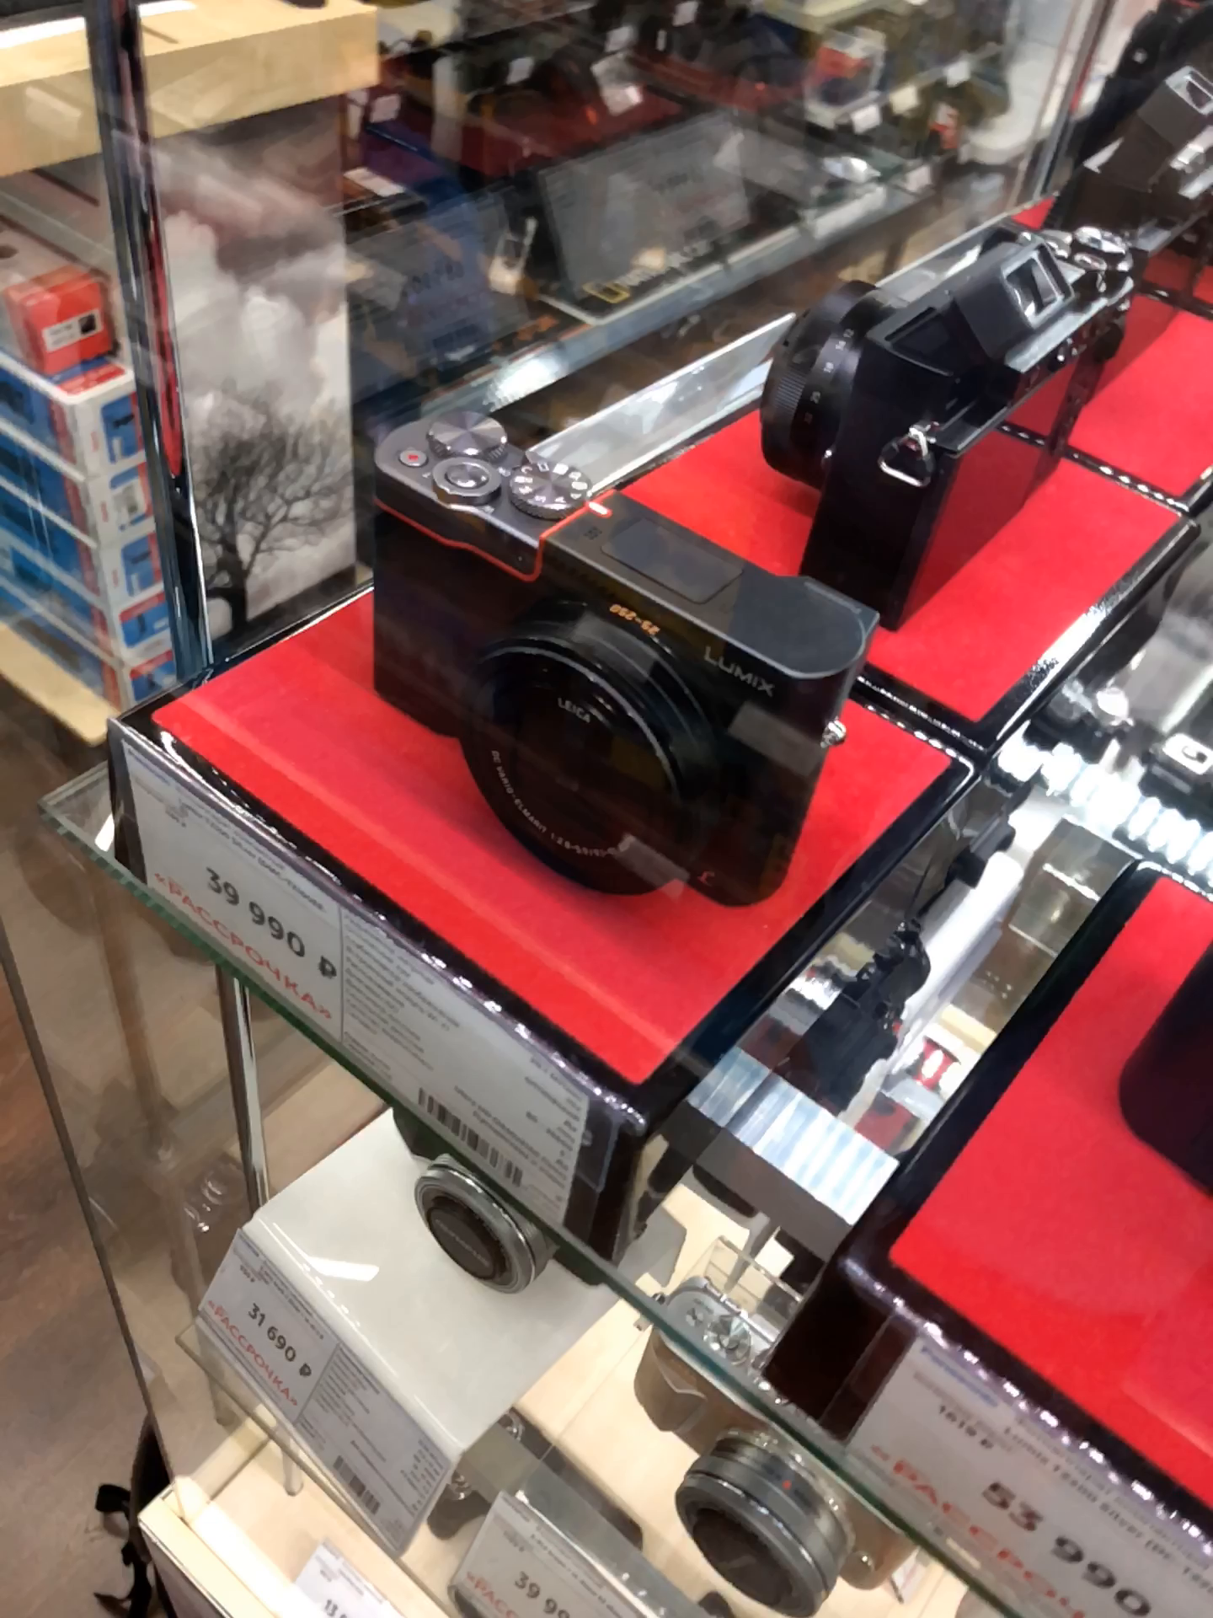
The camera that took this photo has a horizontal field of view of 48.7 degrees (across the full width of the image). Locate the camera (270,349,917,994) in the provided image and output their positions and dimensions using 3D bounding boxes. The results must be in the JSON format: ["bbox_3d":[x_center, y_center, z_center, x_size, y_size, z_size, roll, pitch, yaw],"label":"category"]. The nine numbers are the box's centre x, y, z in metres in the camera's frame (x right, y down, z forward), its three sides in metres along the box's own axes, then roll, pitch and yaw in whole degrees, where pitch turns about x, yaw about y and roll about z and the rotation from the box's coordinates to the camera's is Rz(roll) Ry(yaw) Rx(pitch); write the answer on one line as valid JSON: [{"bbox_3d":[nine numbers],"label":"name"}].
[{"bbox_3d":[-0.008,-0.030,0.269,0.113,0.070,0.050,34,50,22],"label":"camera"}]

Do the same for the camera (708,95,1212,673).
[{"bbox_3d":[0.096,-0.118,0.364,0.069,0.101,0.113,32,49,21],"label":"camera"}]

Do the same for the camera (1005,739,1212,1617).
[{"bbox_3d":[0.133,0.056,0.204,0.113,0.070,0.051,36,51,24],"label":"camera"}]
